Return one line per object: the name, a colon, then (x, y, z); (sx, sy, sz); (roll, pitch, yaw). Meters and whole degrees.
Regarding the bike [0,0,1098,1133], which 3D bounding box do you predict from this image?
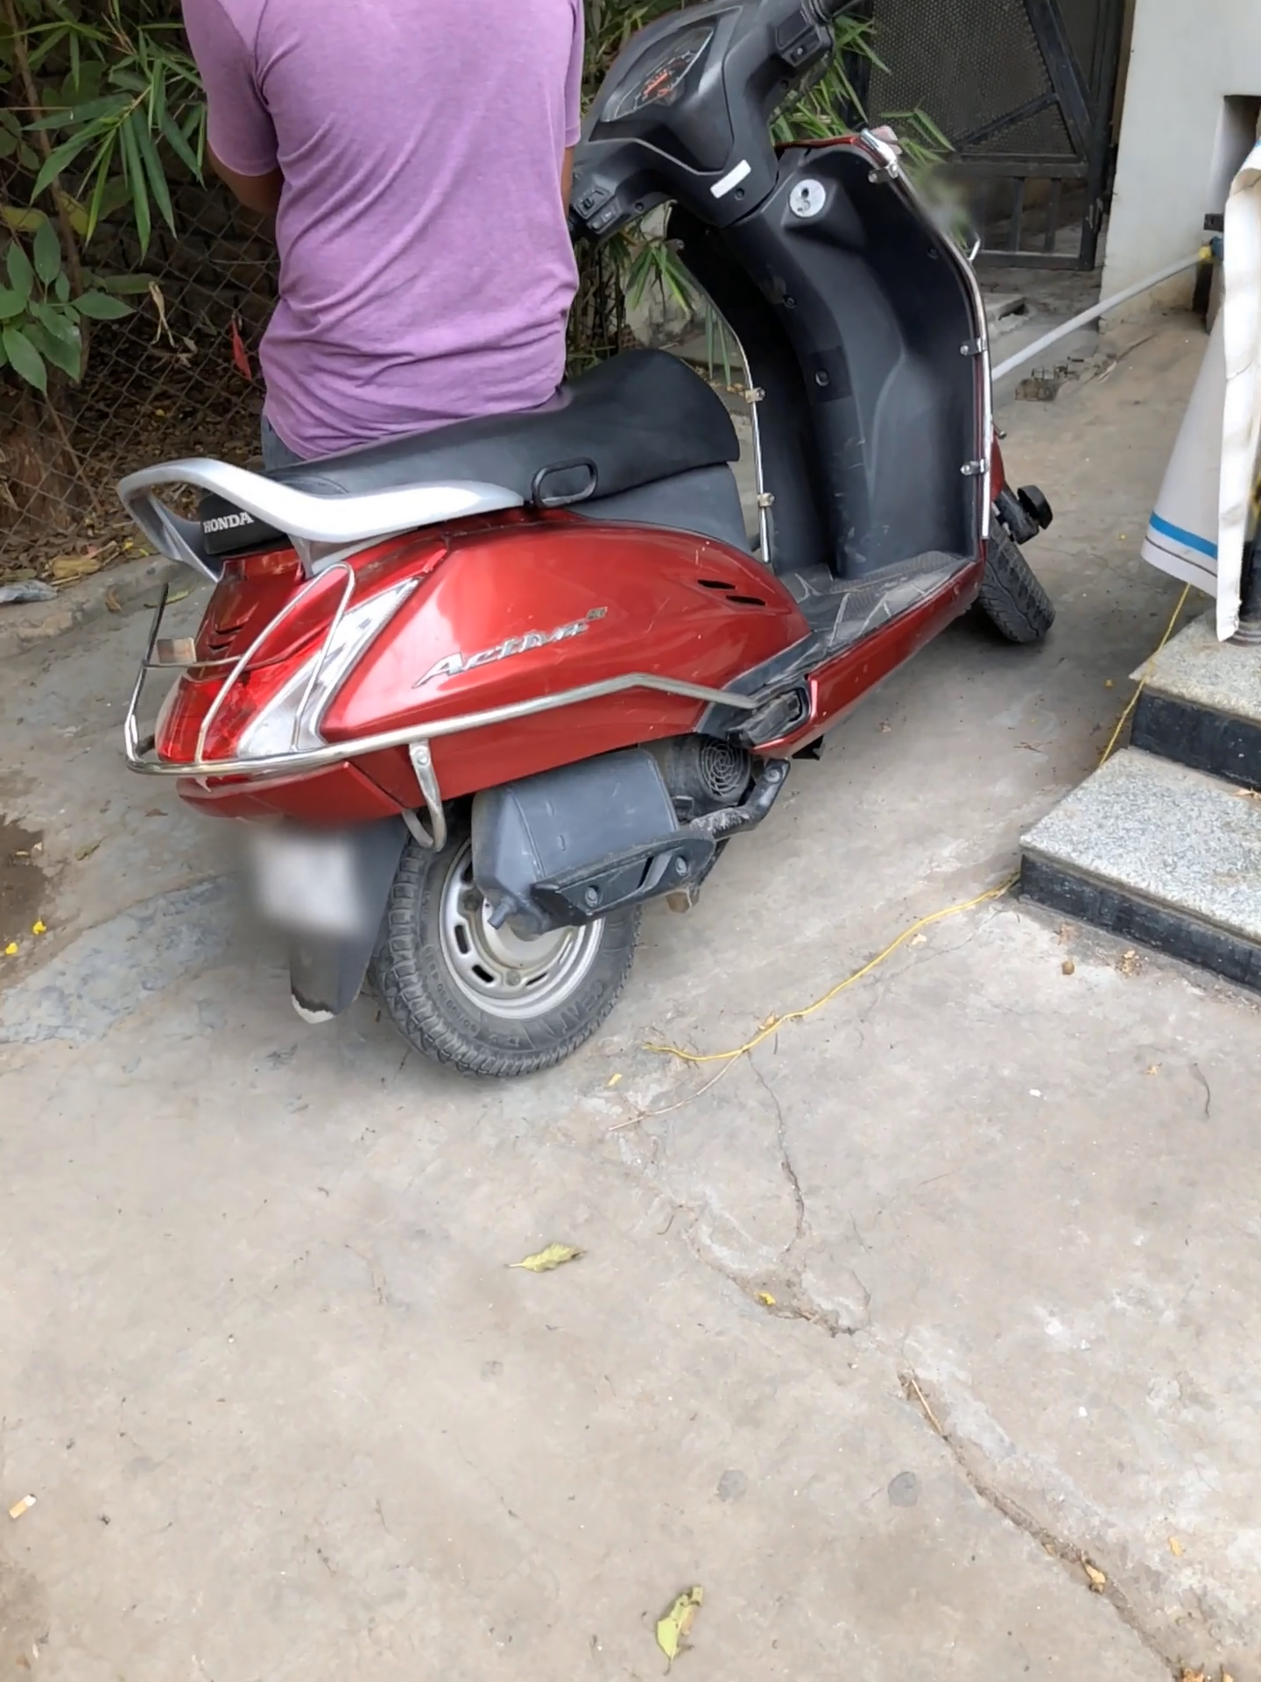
bike: (0.024, -0.586, 1.874); (0.572, 1.056, 1.486); (18, 42, 30)
